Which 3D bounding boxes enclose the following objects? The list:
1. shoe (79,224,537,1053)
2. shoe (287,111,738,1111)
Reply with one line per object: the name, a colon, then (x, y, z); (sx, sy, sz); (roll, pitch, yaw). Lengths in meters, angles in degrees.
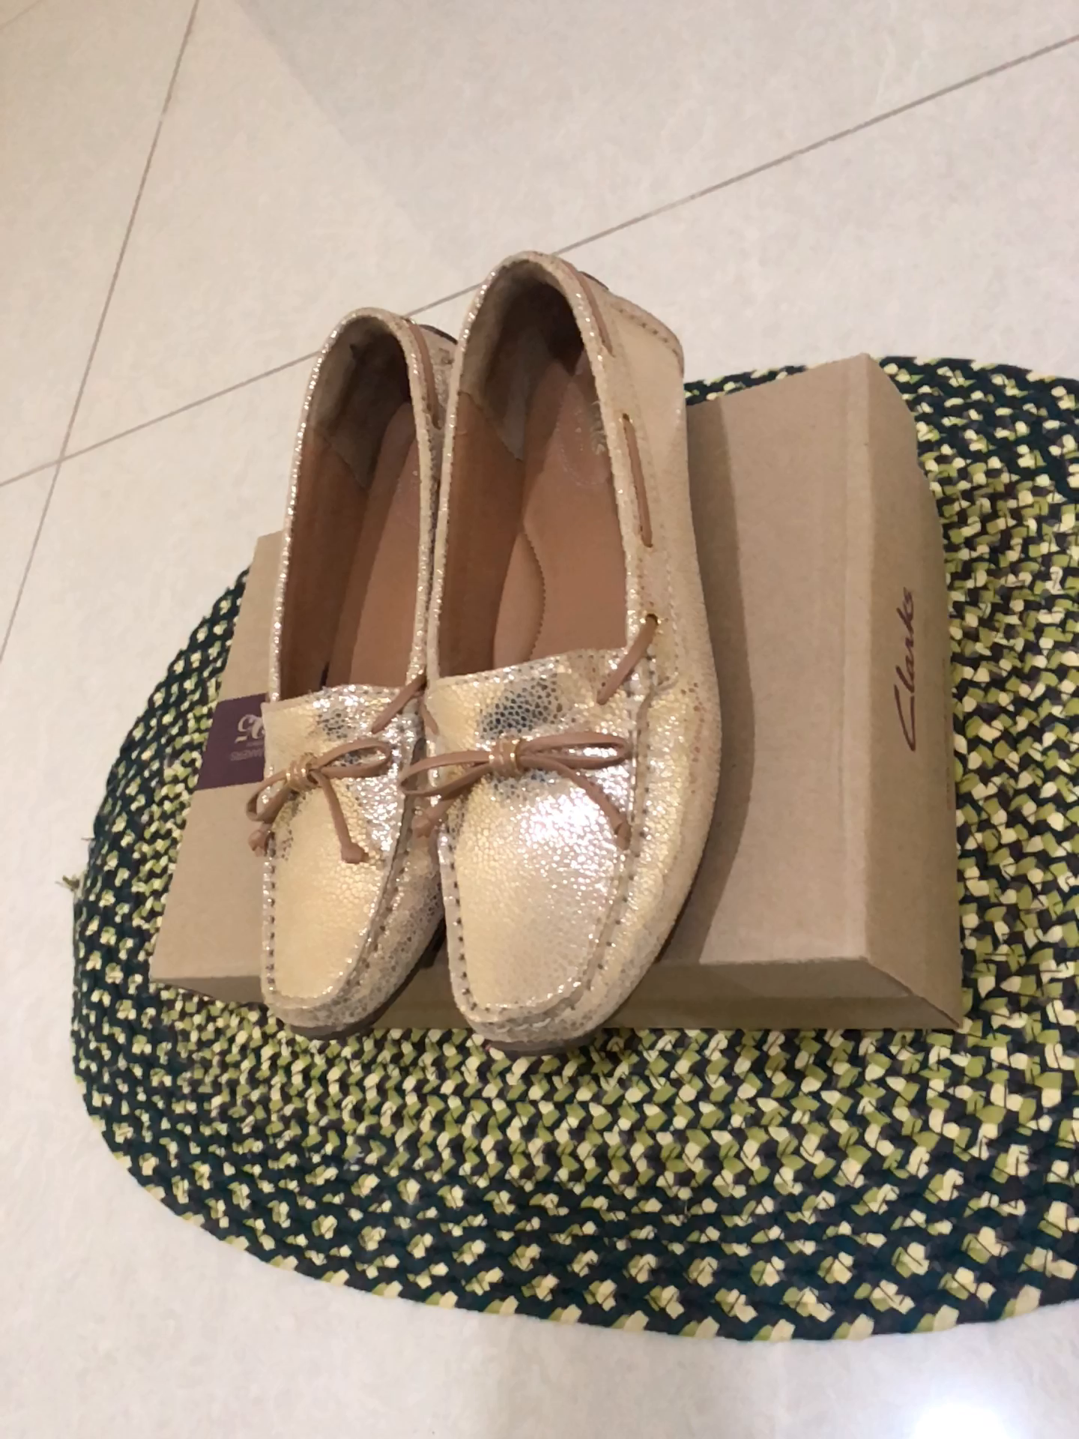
shoe: (-0.069, -0.033, 0.414); (0.090, 0.060, 0.280); (-9, 60, 30)
shoe: (0.004, -0.044, 0.376); (0.090, 0.060, 0.310); (-9, 60, 30)
